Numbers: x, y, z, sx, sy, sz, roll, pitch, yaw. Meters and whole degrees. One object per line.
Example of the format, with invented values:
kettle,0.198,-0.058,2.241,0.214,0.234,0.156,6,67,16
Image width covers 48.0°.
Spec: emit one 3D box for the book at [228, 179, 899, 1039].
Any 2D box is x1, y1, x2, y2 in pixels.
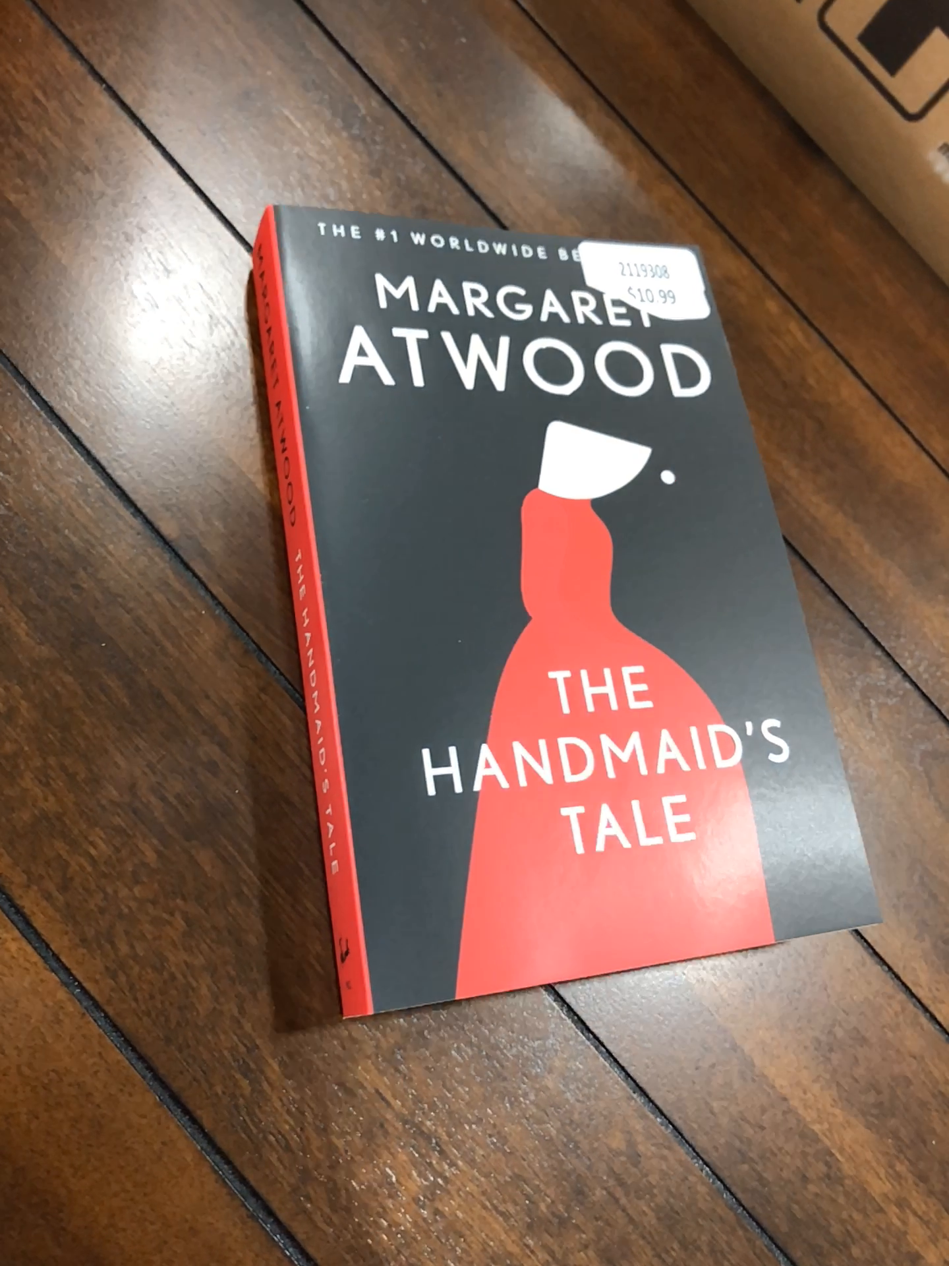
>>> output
book,0.017,-0.016,0.278,0.138,0.030,0.207,-2,70,-22
